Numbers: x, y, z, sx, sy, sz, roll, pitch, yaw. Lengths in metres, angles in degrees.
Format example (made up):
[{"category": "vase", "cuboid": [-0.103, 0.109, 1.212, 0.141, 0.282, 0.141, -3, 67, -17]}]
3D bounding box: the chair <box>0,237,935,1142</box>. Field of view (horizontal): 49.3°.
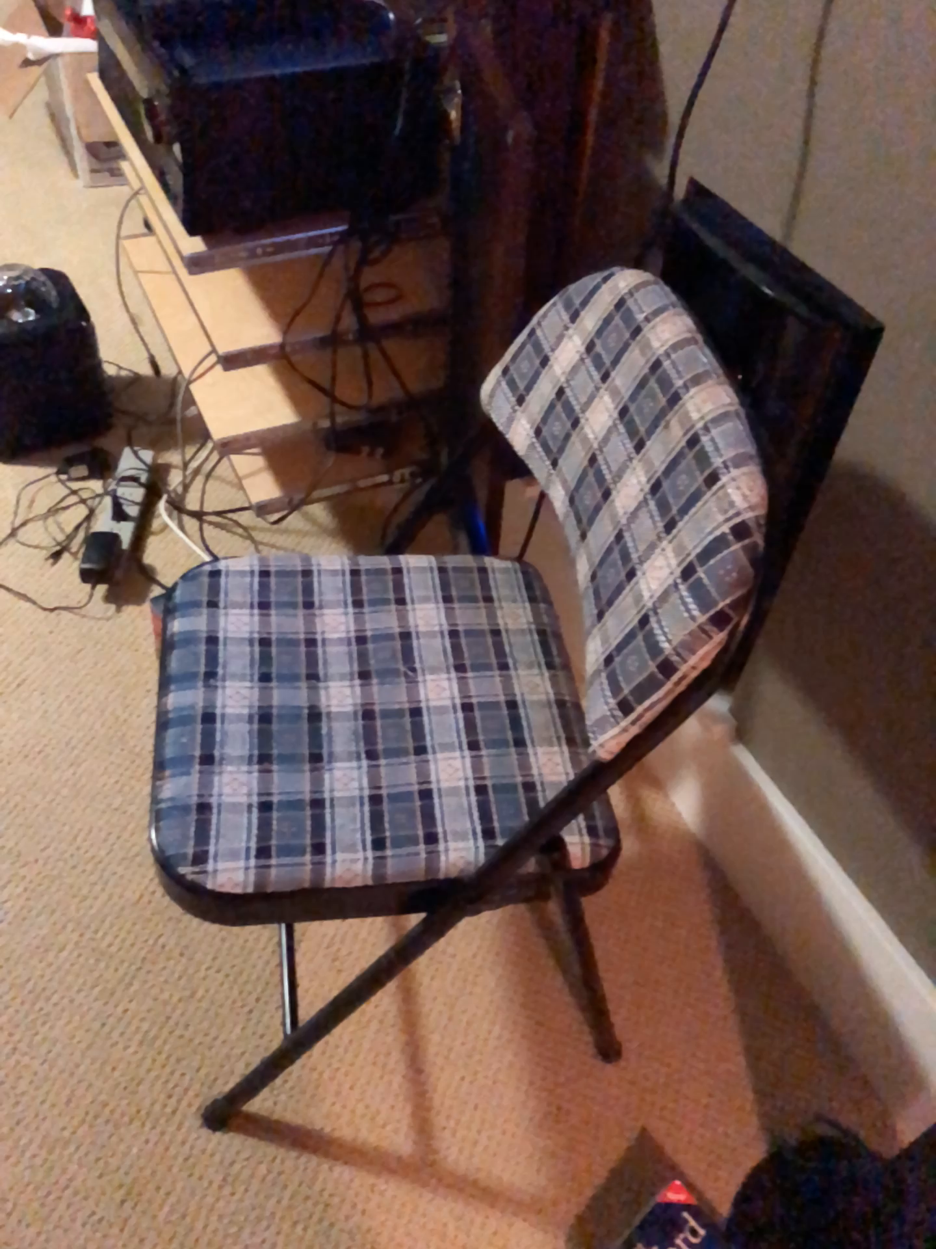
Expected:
[{"category": "chair", "cuboid": [-0.025, 0.086, 0.985, 0.560, 0.705, 0.503, -2, 46, -8]}]
